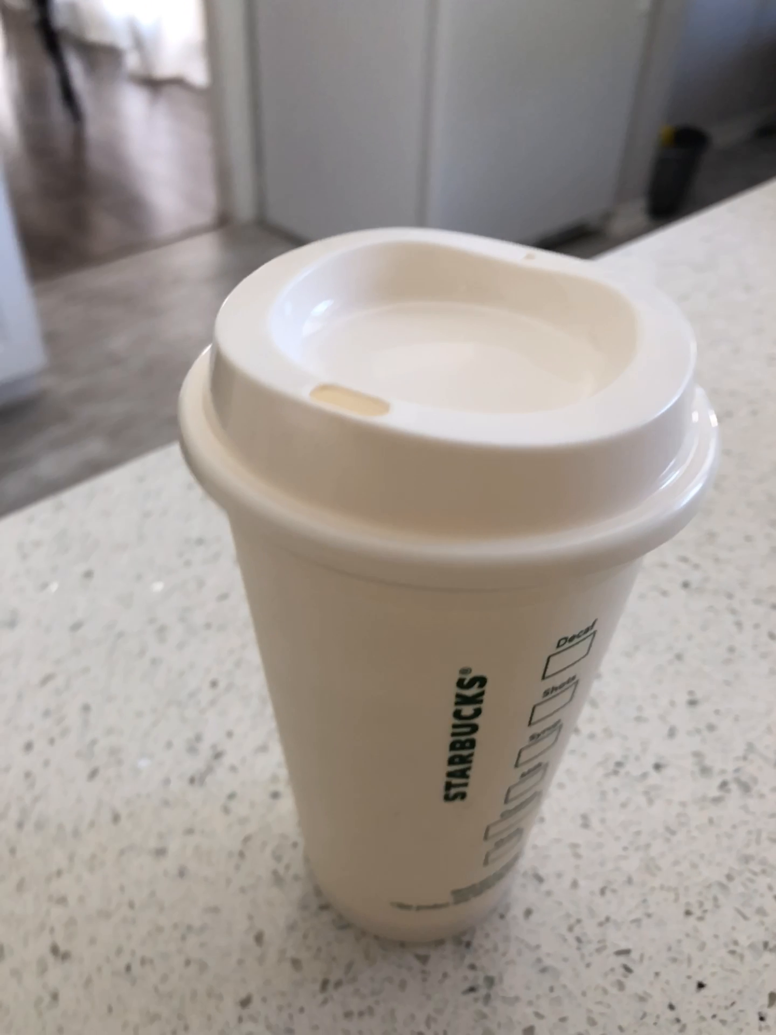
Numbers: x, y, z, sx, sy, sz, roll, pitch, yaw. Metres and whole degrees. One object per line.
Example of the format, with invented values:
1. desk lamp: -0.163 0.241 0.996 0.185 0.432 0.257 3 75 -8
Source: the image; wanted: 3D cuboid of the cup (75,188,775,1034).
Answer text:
1. cup: 0.009 0.023 0.183 0.090 0.139 0.090 1 39 -1
